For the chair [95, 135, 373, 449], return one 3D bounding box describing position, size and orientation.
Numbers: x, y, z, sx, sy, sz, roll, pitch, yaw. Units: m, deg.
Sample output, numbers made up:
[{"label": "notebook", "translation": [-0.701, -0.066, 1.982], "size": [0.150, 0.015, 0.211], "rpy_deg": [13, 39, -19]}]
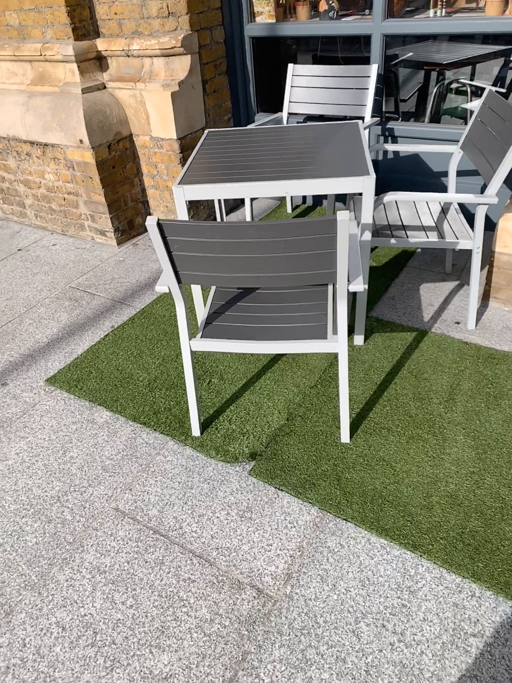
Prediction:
[{"label": "chair", "translation": [-0.012, -0.166, 1.760], "size": [0.681, 0.802, 0.652], "rpy_deg": [-2, 36, 5]}]
